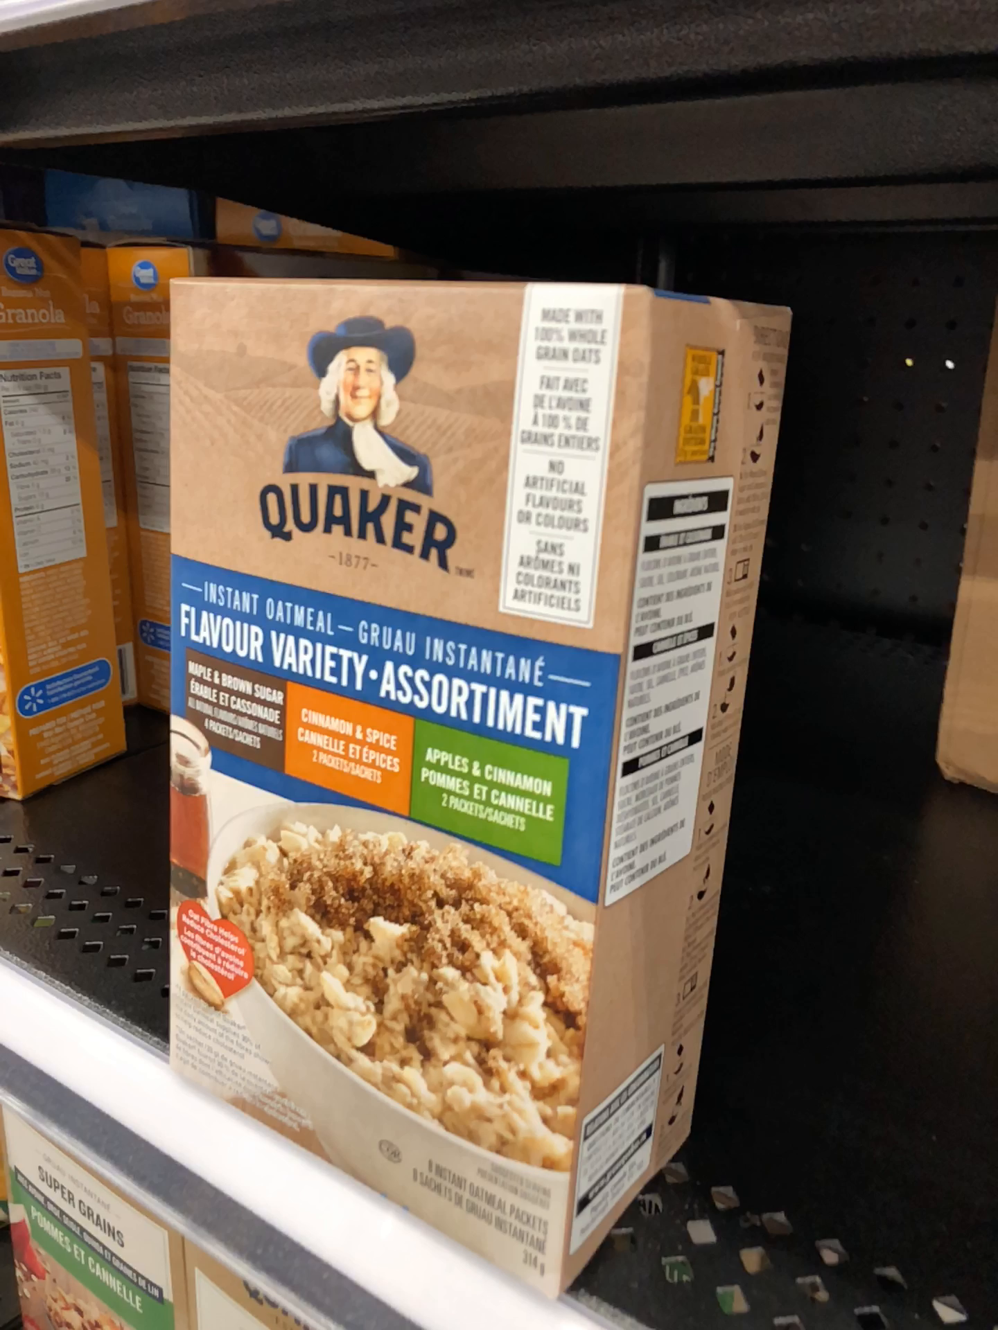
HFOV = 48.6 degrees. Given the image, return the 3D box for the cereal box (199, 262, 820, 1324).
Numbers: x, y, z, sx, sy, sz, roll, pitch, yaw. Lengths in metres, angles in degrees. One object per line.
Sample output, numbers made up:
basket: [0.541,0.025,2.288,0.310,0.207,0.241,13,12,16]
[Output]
cereal box: [-0.006,0.019,0.261,0.120,0.209,0.060,13,16,32]
